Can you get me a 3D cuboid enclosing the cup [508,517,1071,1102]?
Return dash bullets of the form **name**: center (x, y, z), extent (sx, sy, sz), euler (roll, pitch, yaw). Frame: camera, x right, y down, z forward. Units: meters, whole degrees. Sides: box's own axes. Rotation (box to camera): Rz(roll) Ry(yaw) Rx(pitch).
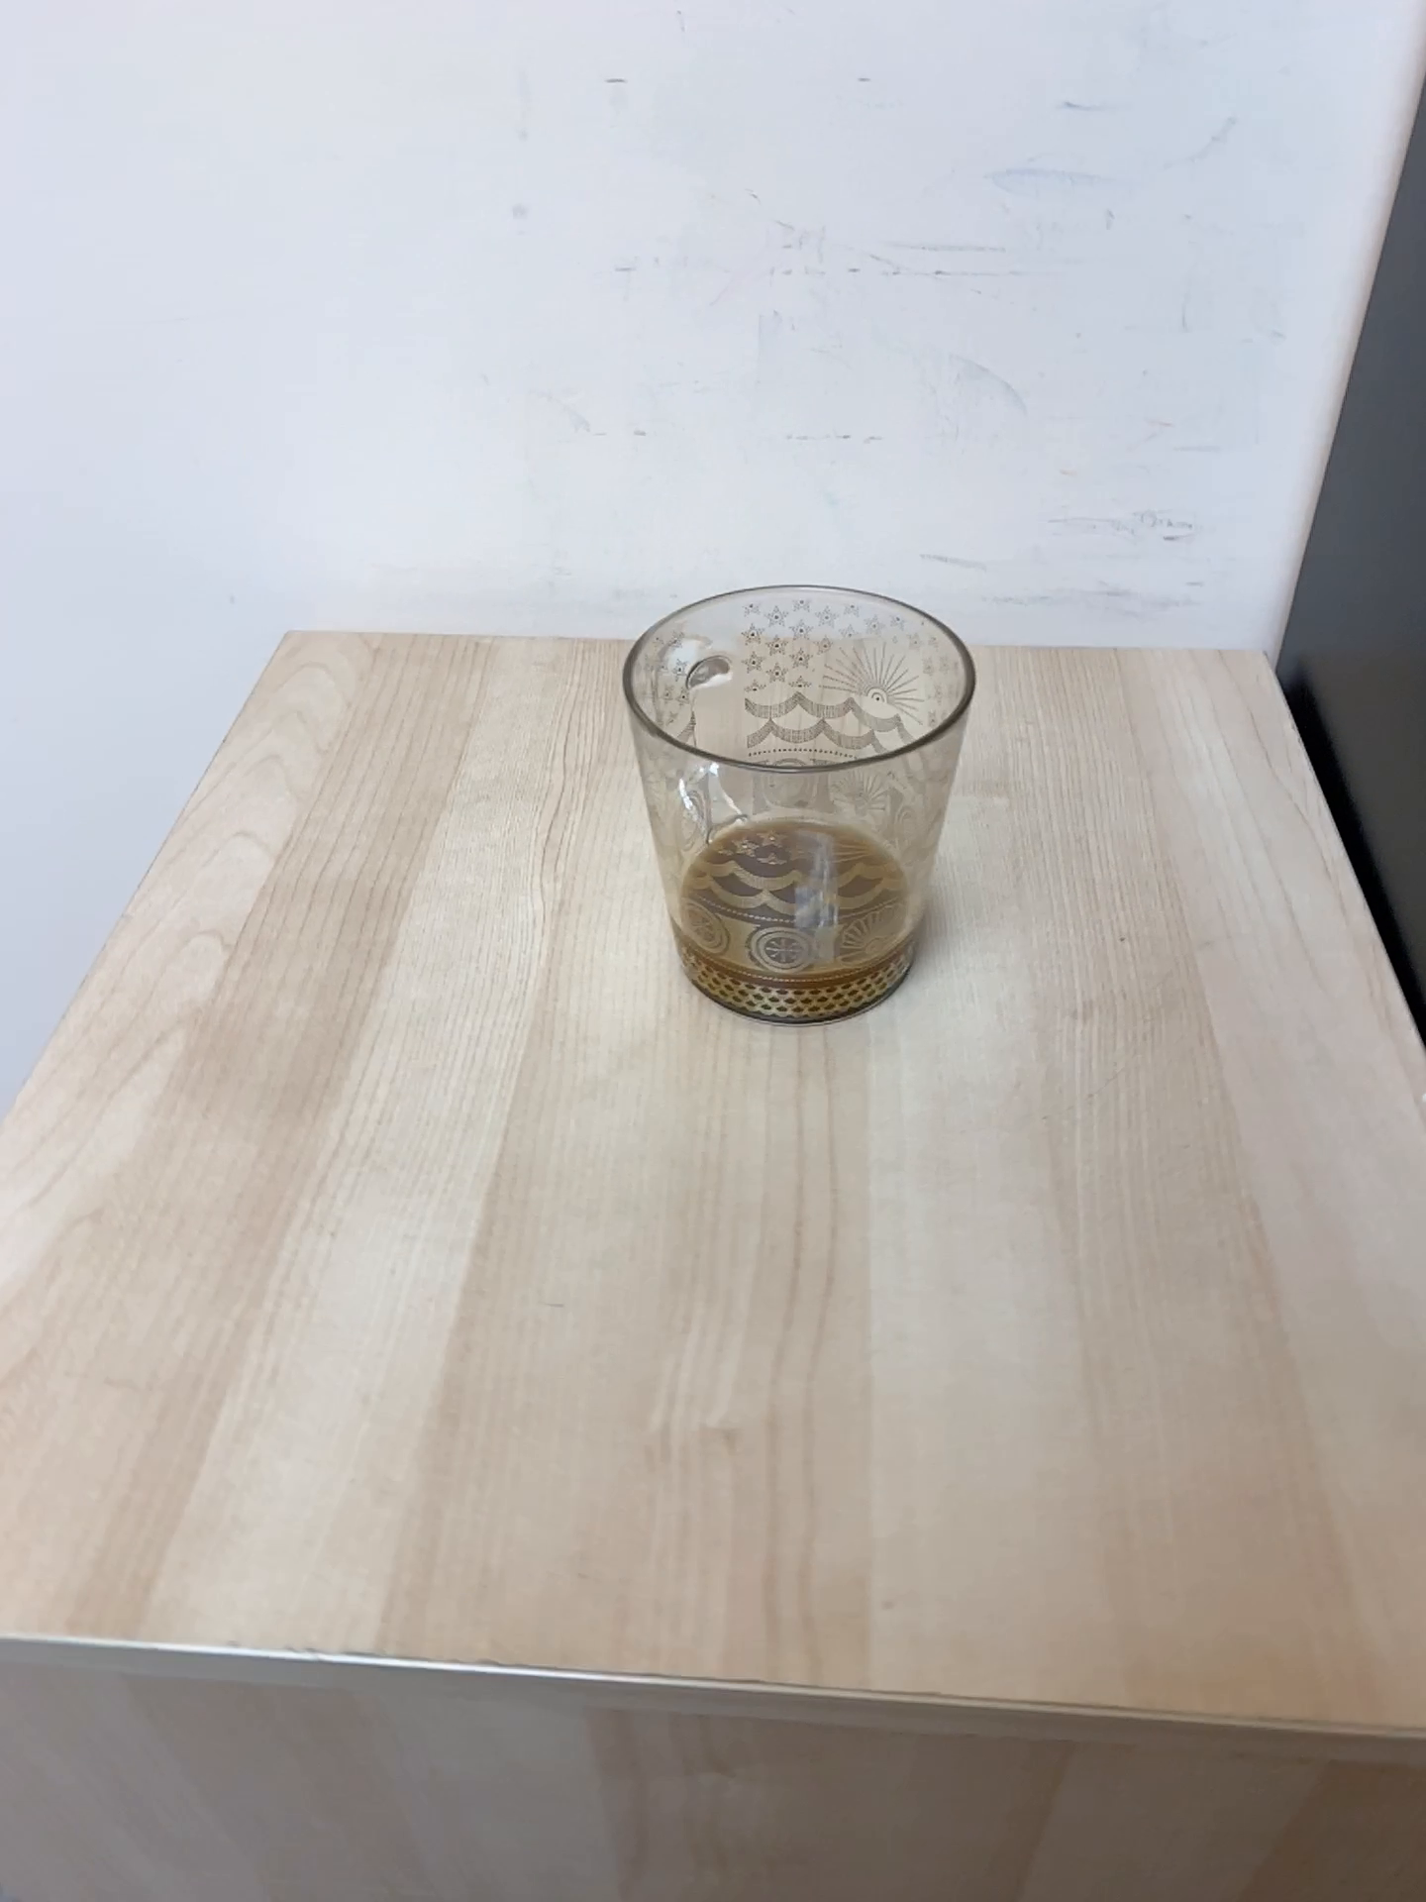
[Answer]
- **cup**: center (0.019, -0.048, 0.430), extent (0.099, 0.098, 0.125), euler (-25, 46, -25)
